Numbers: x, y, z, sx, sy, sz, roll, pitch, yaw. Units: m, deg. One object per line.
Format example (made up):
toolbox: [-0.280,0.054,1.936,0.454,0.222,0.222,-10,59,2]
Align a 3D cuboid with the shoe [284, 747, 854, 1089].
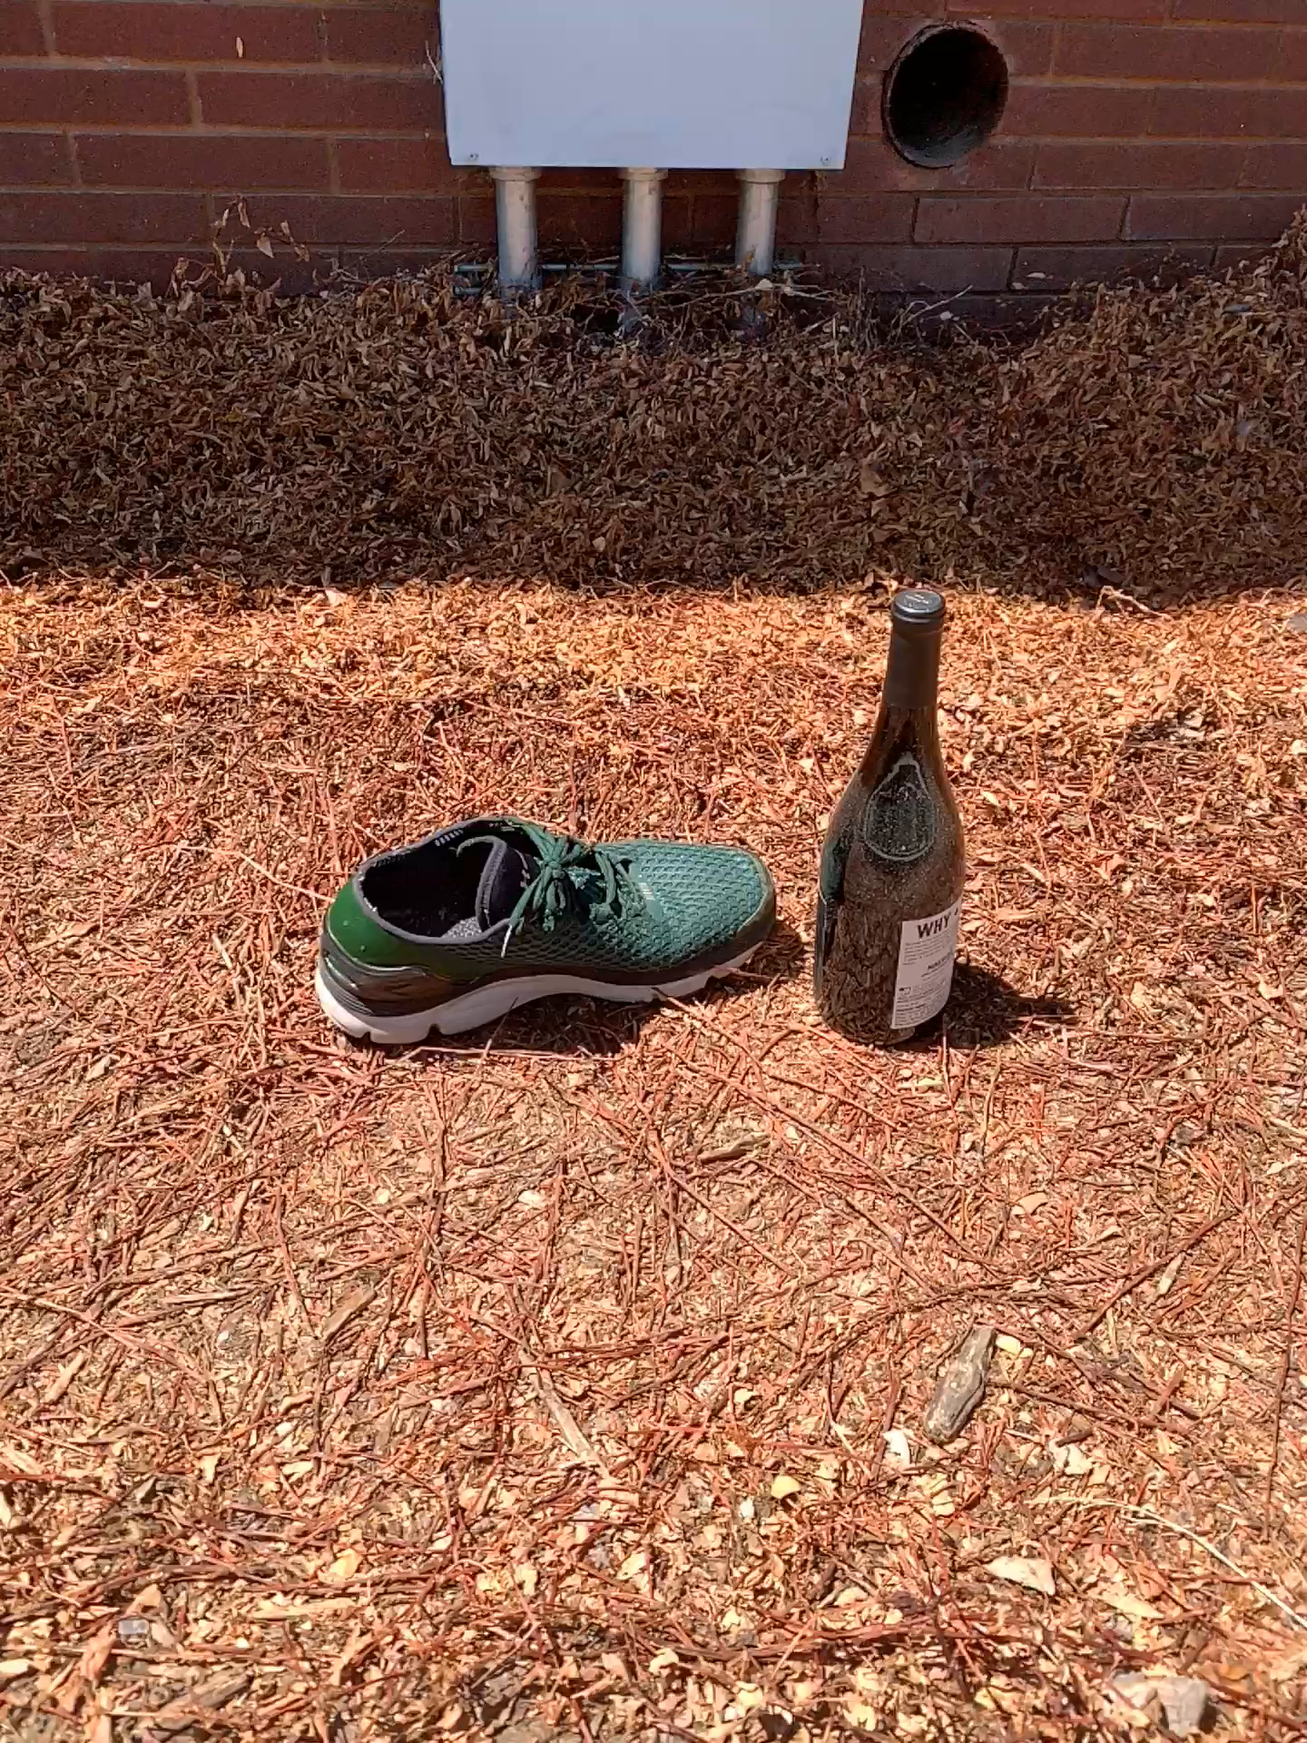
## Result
shoe: [-0.054,0.022,0.837,0.320,0.099,0.131,-10,41,-15]
